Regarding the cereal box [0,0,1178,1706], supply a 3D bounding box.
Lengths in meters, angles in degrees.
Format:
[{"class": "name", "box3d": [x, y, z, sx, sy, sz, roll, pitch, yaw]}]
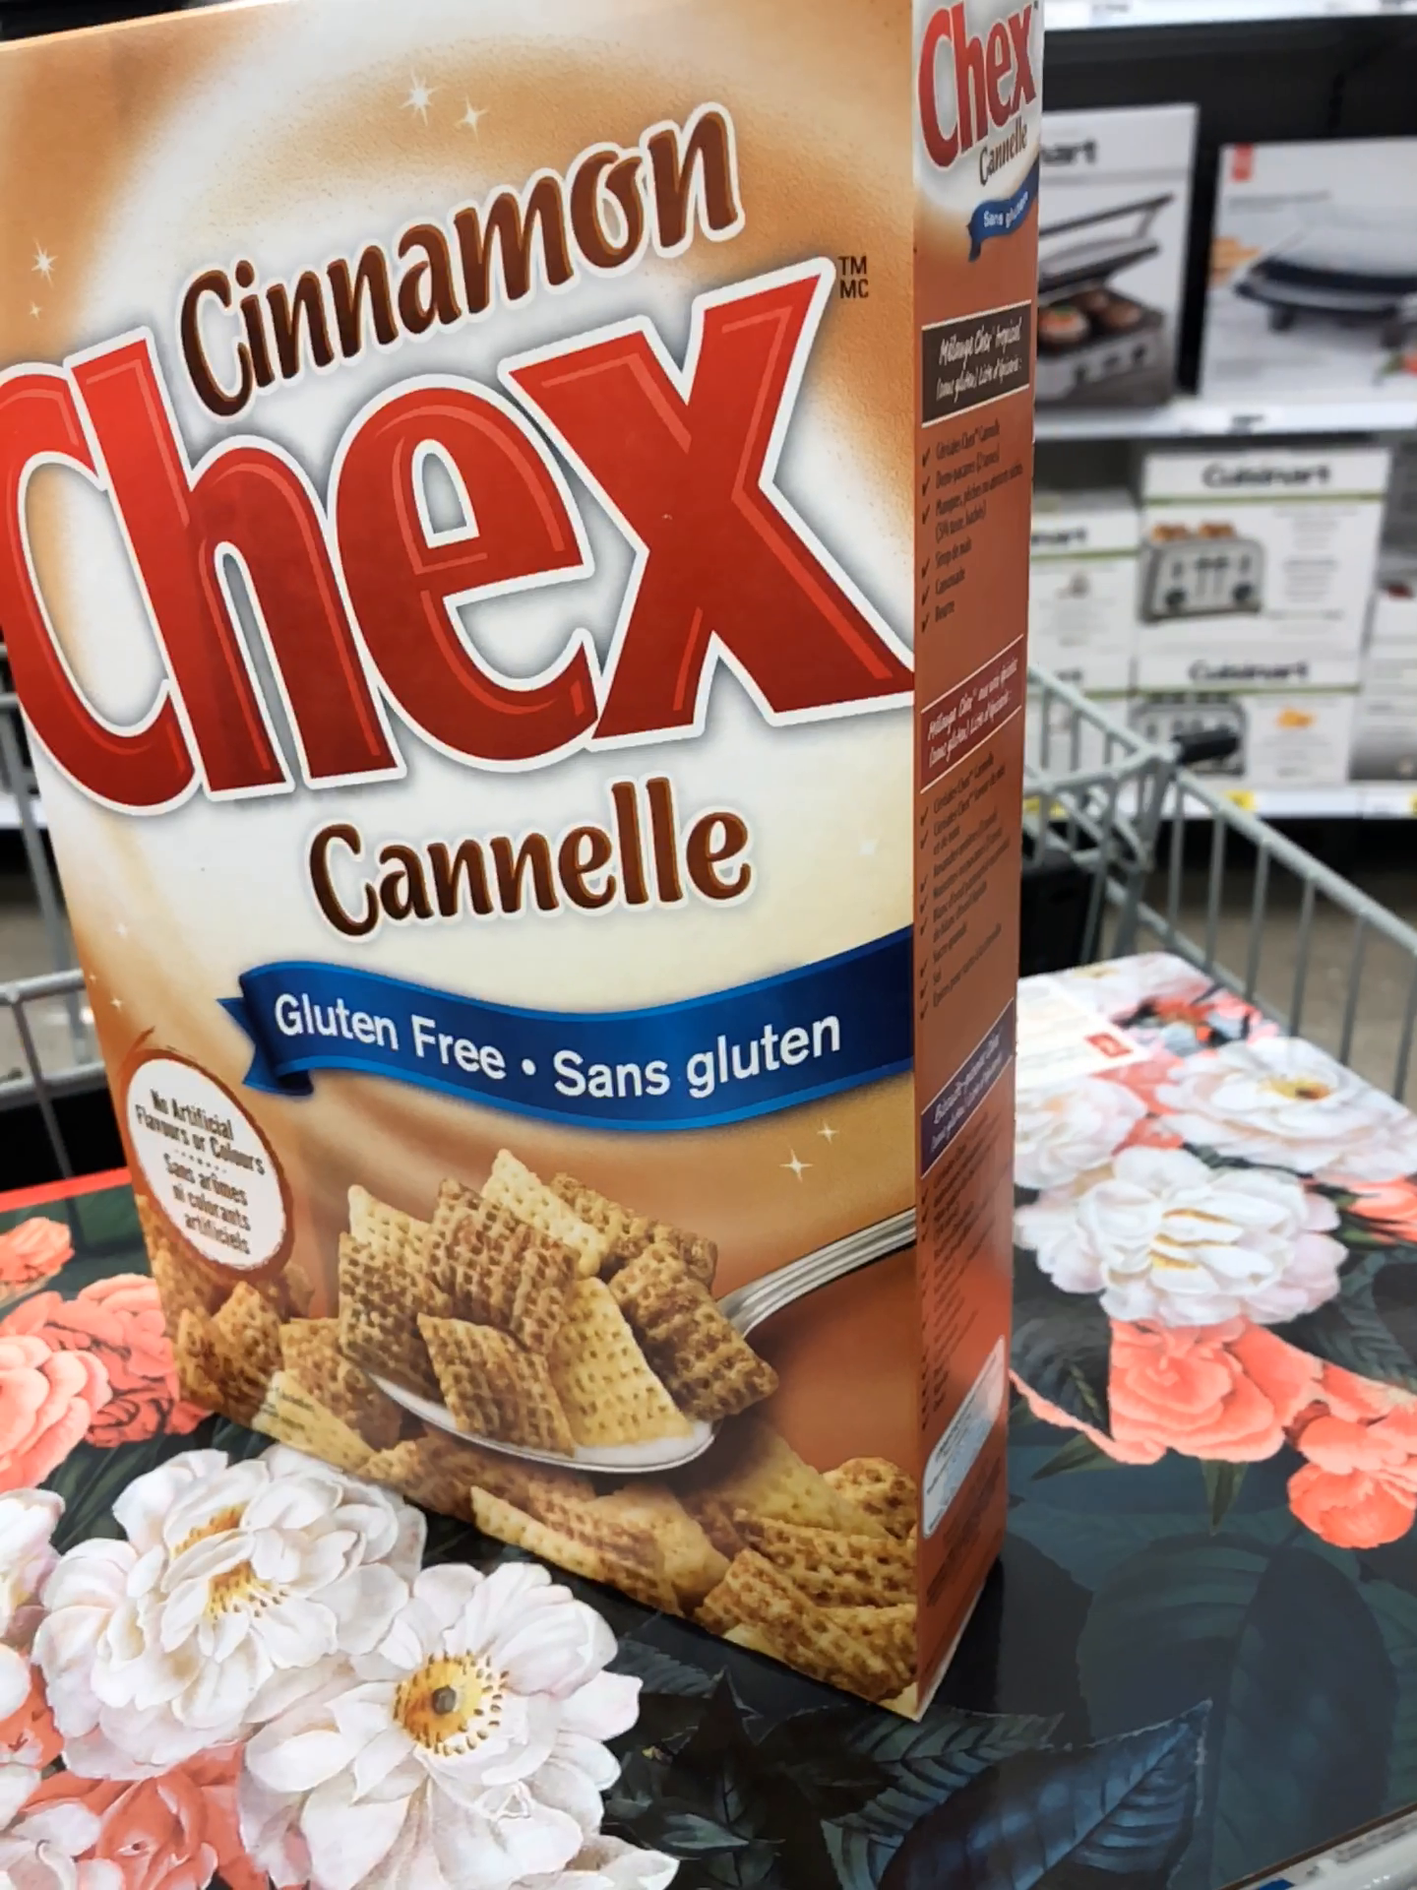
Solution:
[{"class": "cereal box", "box3d": [-0.041, -0.023, 0.279, 0.200, 0.259, 0.060, 12, 25, 25]}]
